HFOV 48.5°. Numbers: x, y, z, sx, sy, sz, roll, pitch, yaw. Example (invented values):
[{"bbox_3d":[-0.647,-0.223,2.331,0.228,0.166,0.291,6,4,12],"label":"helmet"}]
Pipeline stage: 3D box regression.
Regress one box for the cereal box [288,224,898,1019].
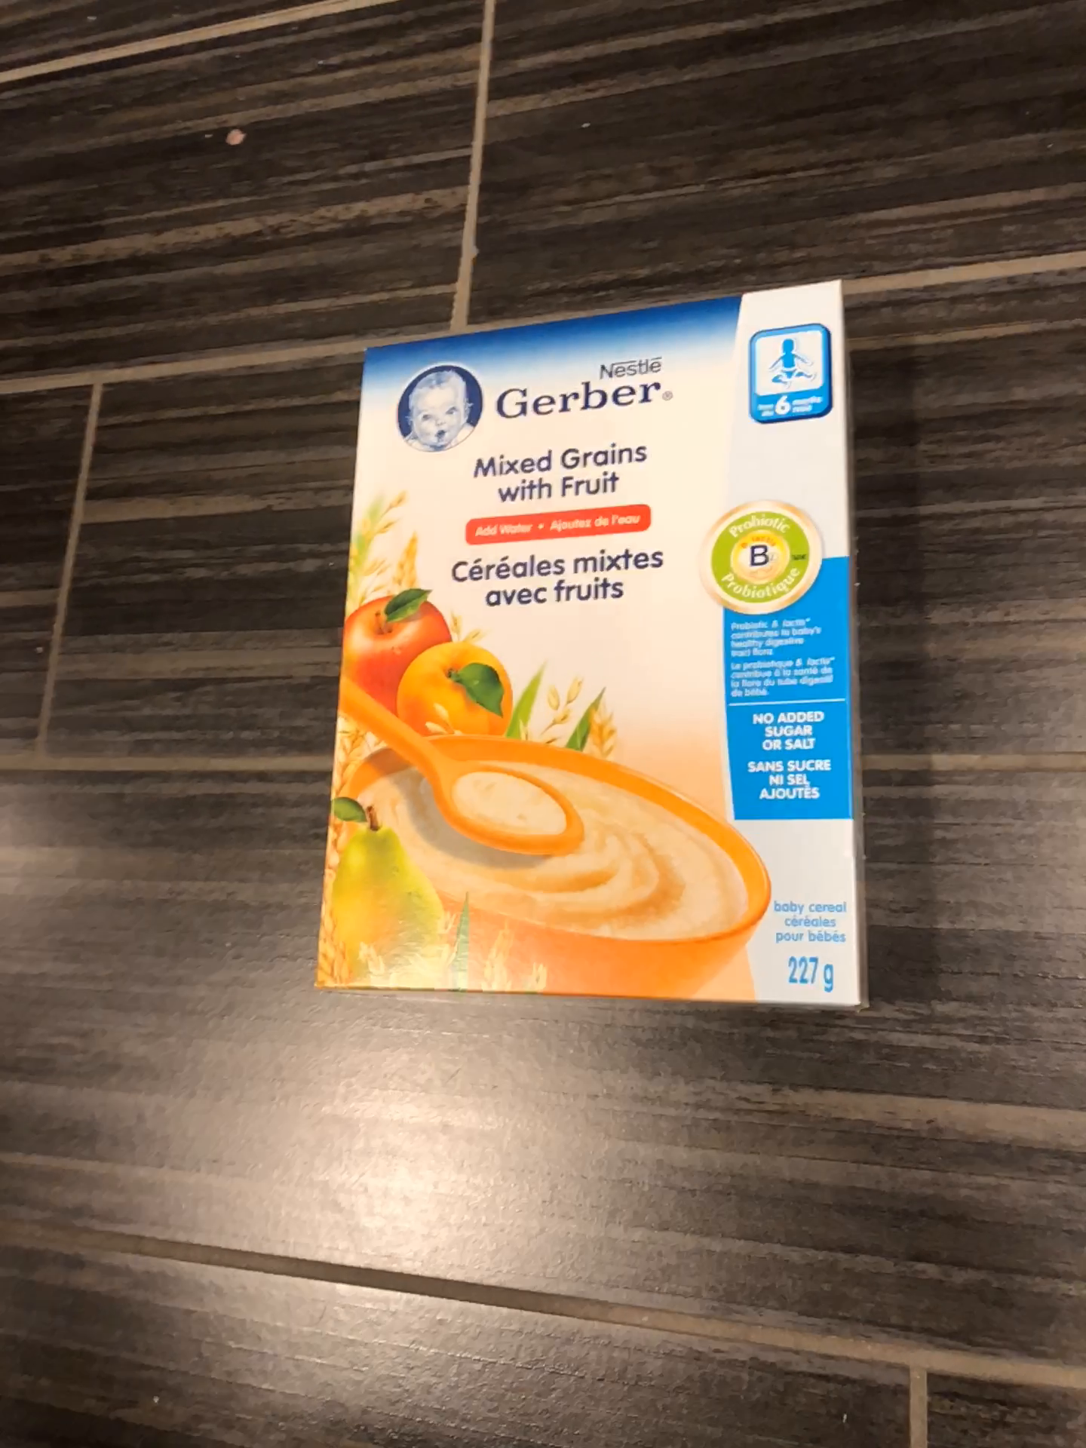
[{"bbox_3d":[0.017,-0.024,0.335,0.150,0.050,0.200,-2,76,17],"label":"cereal box"}]
